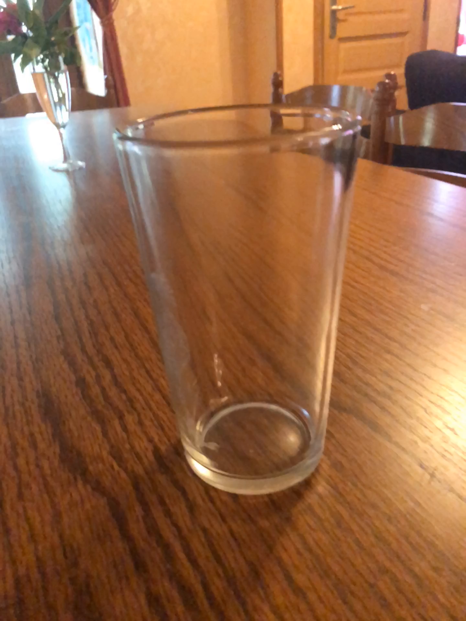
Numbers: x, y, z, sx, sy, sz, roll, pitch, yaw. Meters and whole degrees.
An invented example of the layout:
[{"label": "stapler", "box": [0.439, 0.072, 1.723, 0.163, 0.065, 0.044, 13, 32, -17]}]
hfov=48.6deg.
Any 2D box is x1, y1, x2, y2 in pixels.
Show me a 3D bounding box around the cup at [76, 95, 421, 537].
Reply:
[{"label": "cup", "box": [0.005, -0.008, 0.218, 0.090, 0.144, 0.092, -3, 27, 2]}]
